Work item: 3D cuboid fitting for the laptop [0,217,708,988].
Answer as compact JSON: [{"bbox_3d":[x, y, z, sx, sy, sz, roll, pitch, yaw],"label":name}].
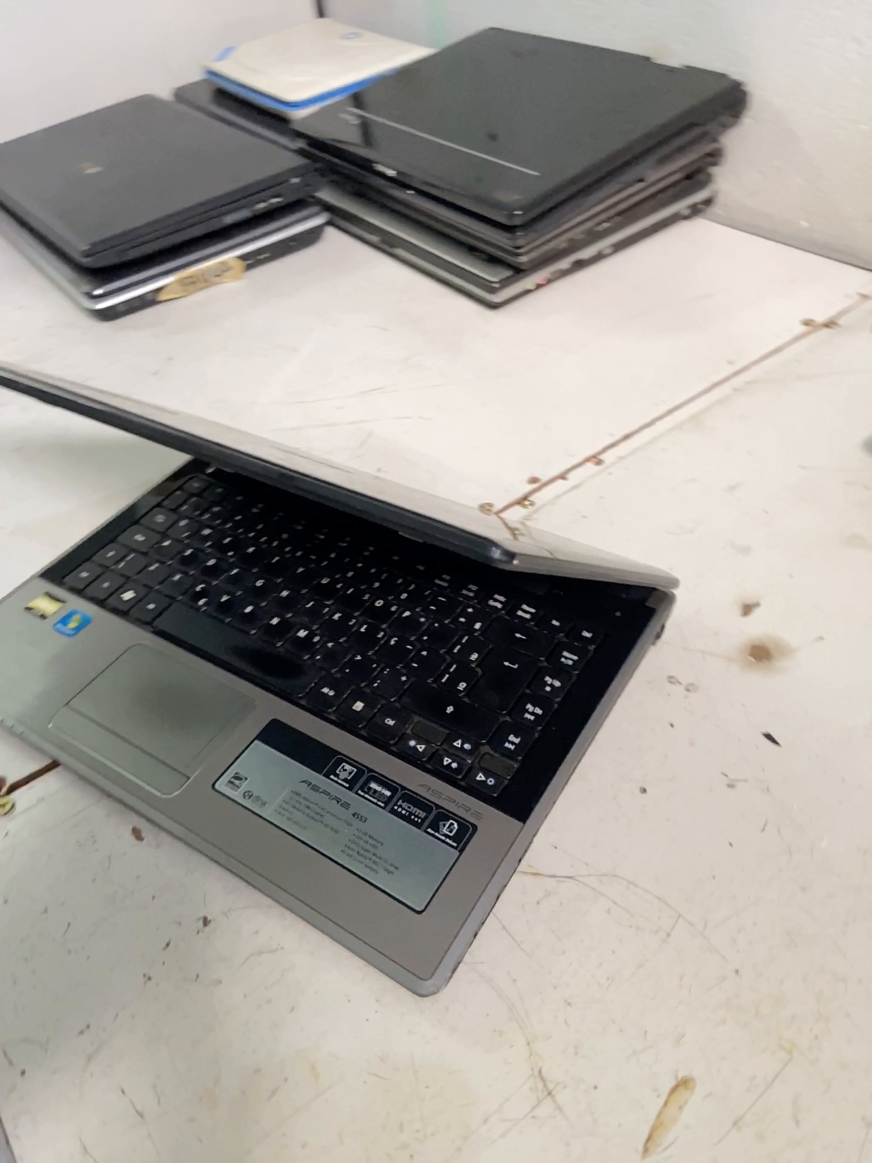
[{"bbox_3d":[-0.086,-0.027,0.423,0.334,0.157,0.226,20,50,27],"label":"laptop"}]
